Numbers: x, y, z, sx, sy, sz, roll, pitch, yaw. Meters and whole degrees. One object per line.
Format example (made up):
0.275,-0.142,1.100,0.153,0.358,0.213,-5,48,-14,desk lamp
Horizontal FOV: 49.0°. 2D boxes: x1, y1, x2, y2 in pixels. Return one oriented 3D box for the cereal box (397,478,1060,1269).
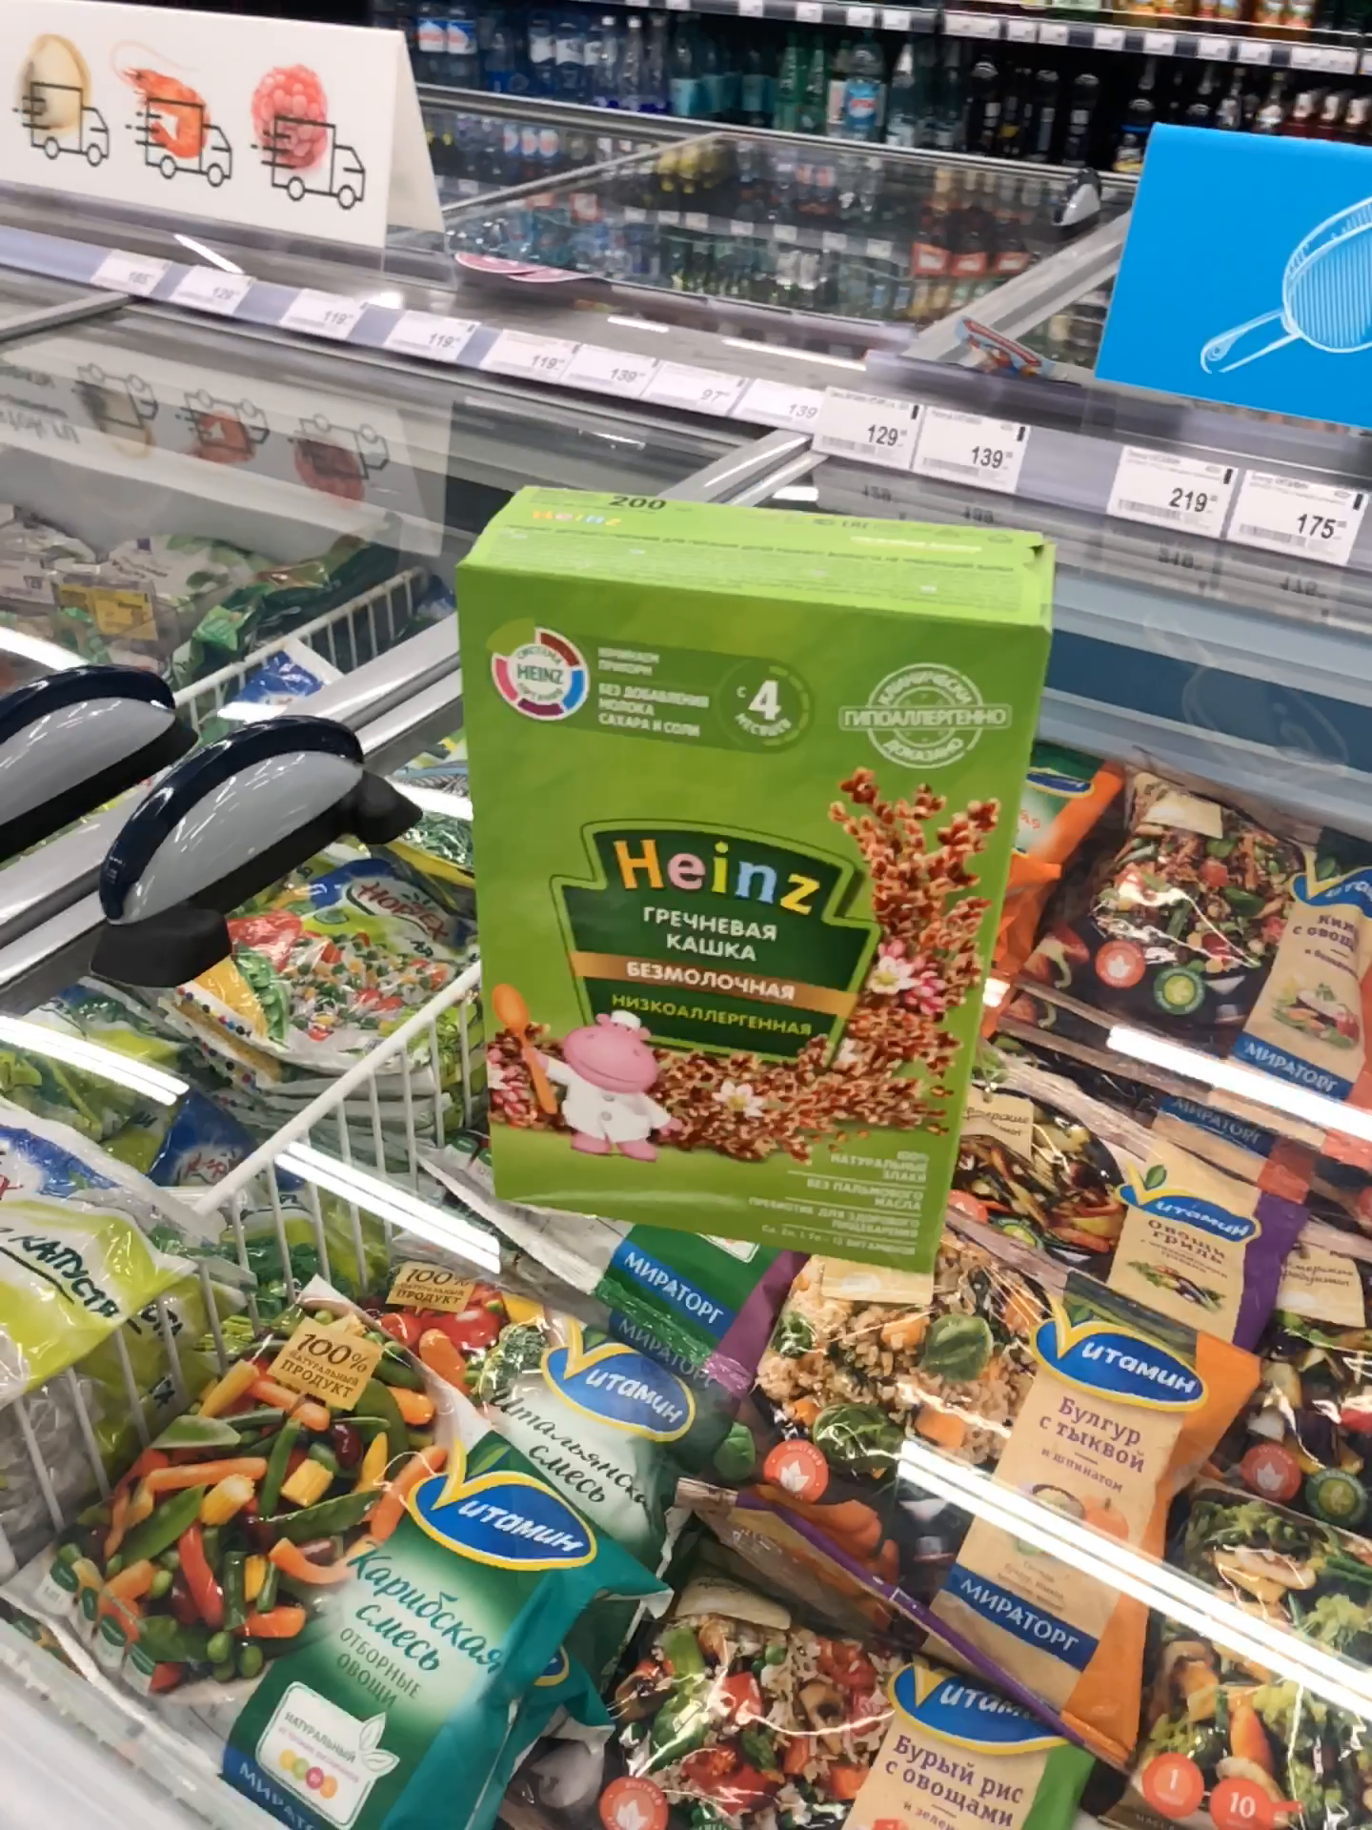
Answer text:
0.009,-0.005,0.388,0.140,0.189,0.050,8,36,9,cereal box
